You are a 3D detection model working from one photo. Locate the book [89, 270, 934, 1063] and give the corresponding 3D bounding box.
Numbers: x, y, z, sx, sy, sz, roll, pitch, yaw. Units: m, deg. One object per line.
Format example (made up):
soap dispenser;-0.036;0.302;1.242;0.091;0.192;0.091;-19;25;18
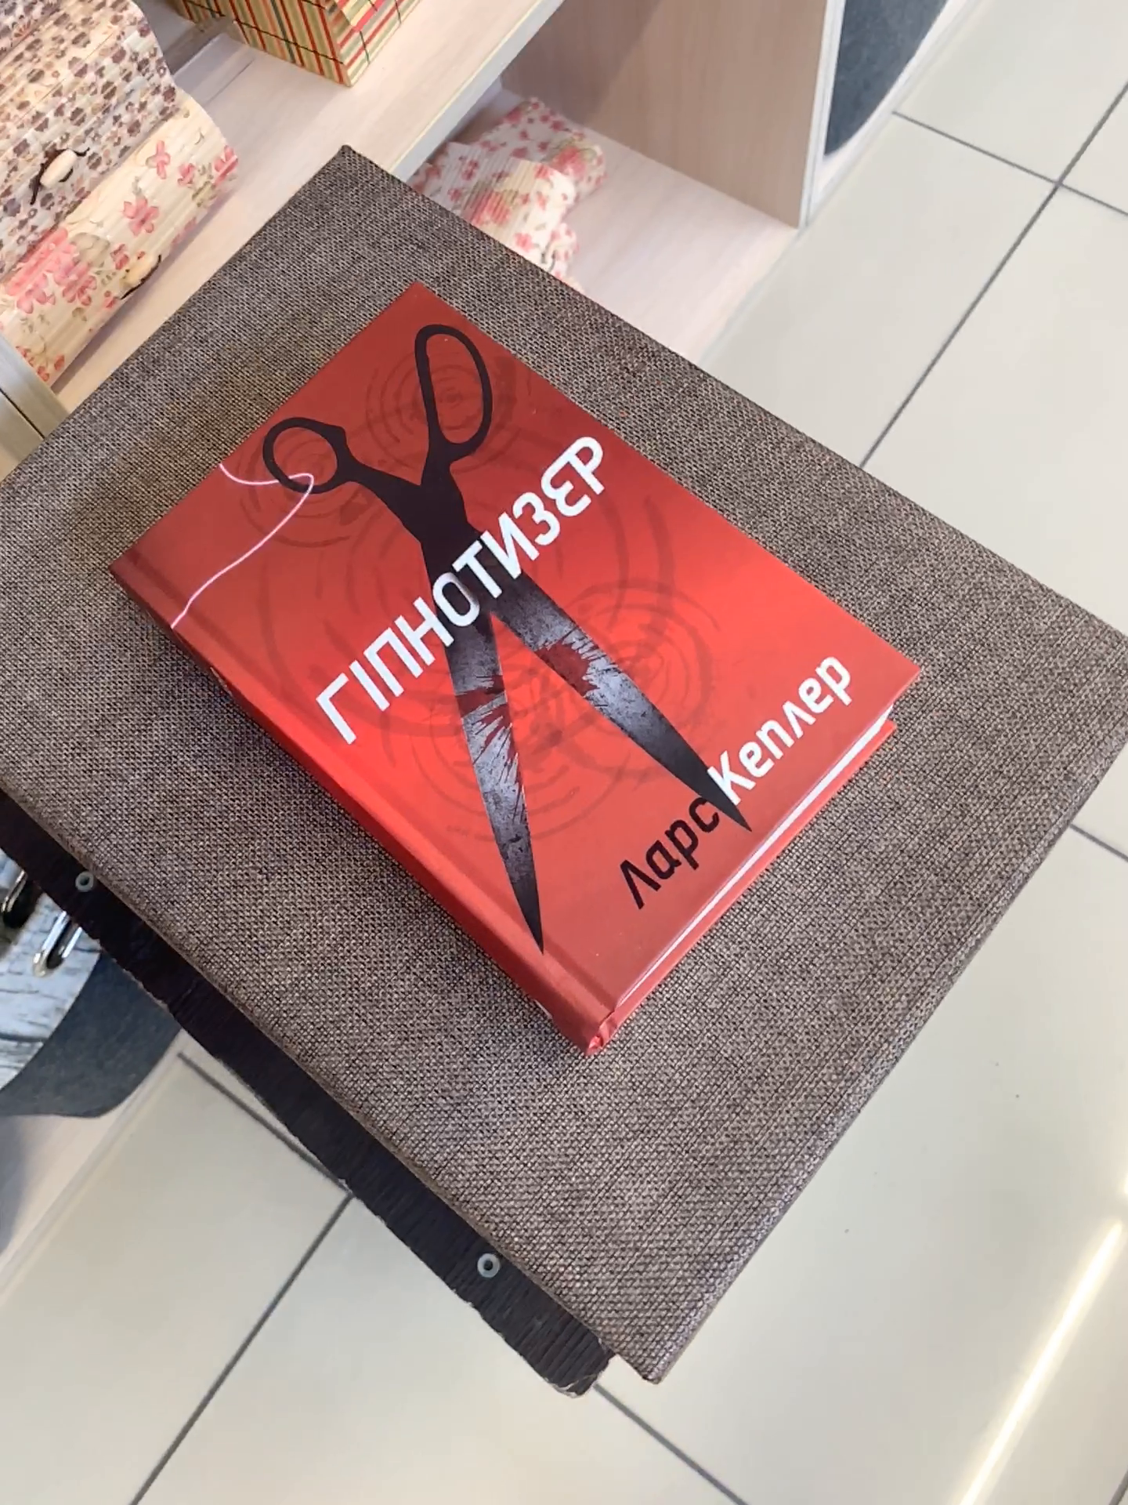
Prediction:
book;-0.018;-0.028;0.342;0.195;0.060;0.131;41;82;16
